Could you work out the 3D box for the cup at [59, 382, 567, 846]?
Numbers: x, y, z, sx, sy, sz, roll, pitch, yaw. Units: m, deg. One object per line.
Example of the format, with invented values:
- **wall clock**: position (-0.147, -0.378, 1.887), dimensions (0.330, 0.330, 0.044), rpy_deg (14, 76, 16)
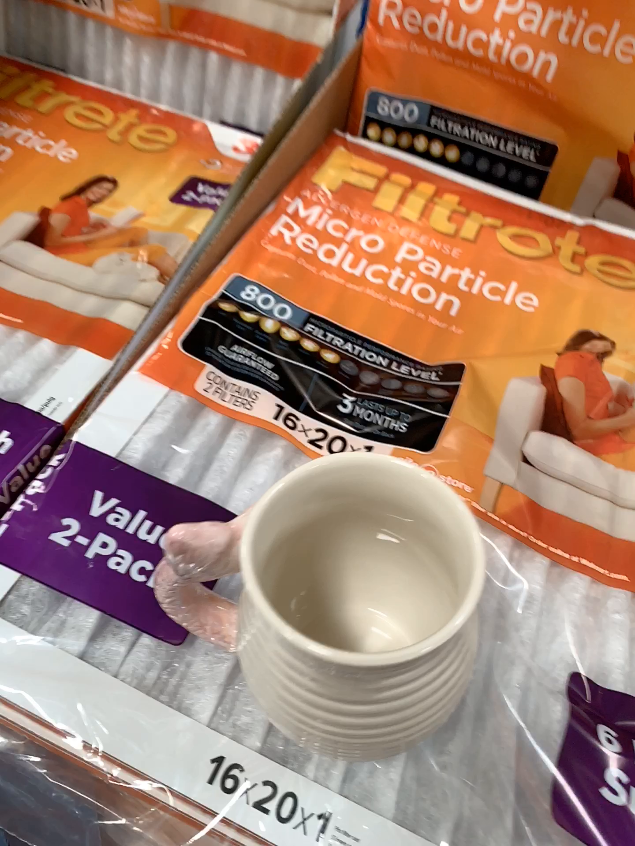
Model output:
- **cup**: position (0.002, 0.070, 0.254), dimensions (0.141, 0.090, 0.100), rpy_deg (21, 50, 16)
